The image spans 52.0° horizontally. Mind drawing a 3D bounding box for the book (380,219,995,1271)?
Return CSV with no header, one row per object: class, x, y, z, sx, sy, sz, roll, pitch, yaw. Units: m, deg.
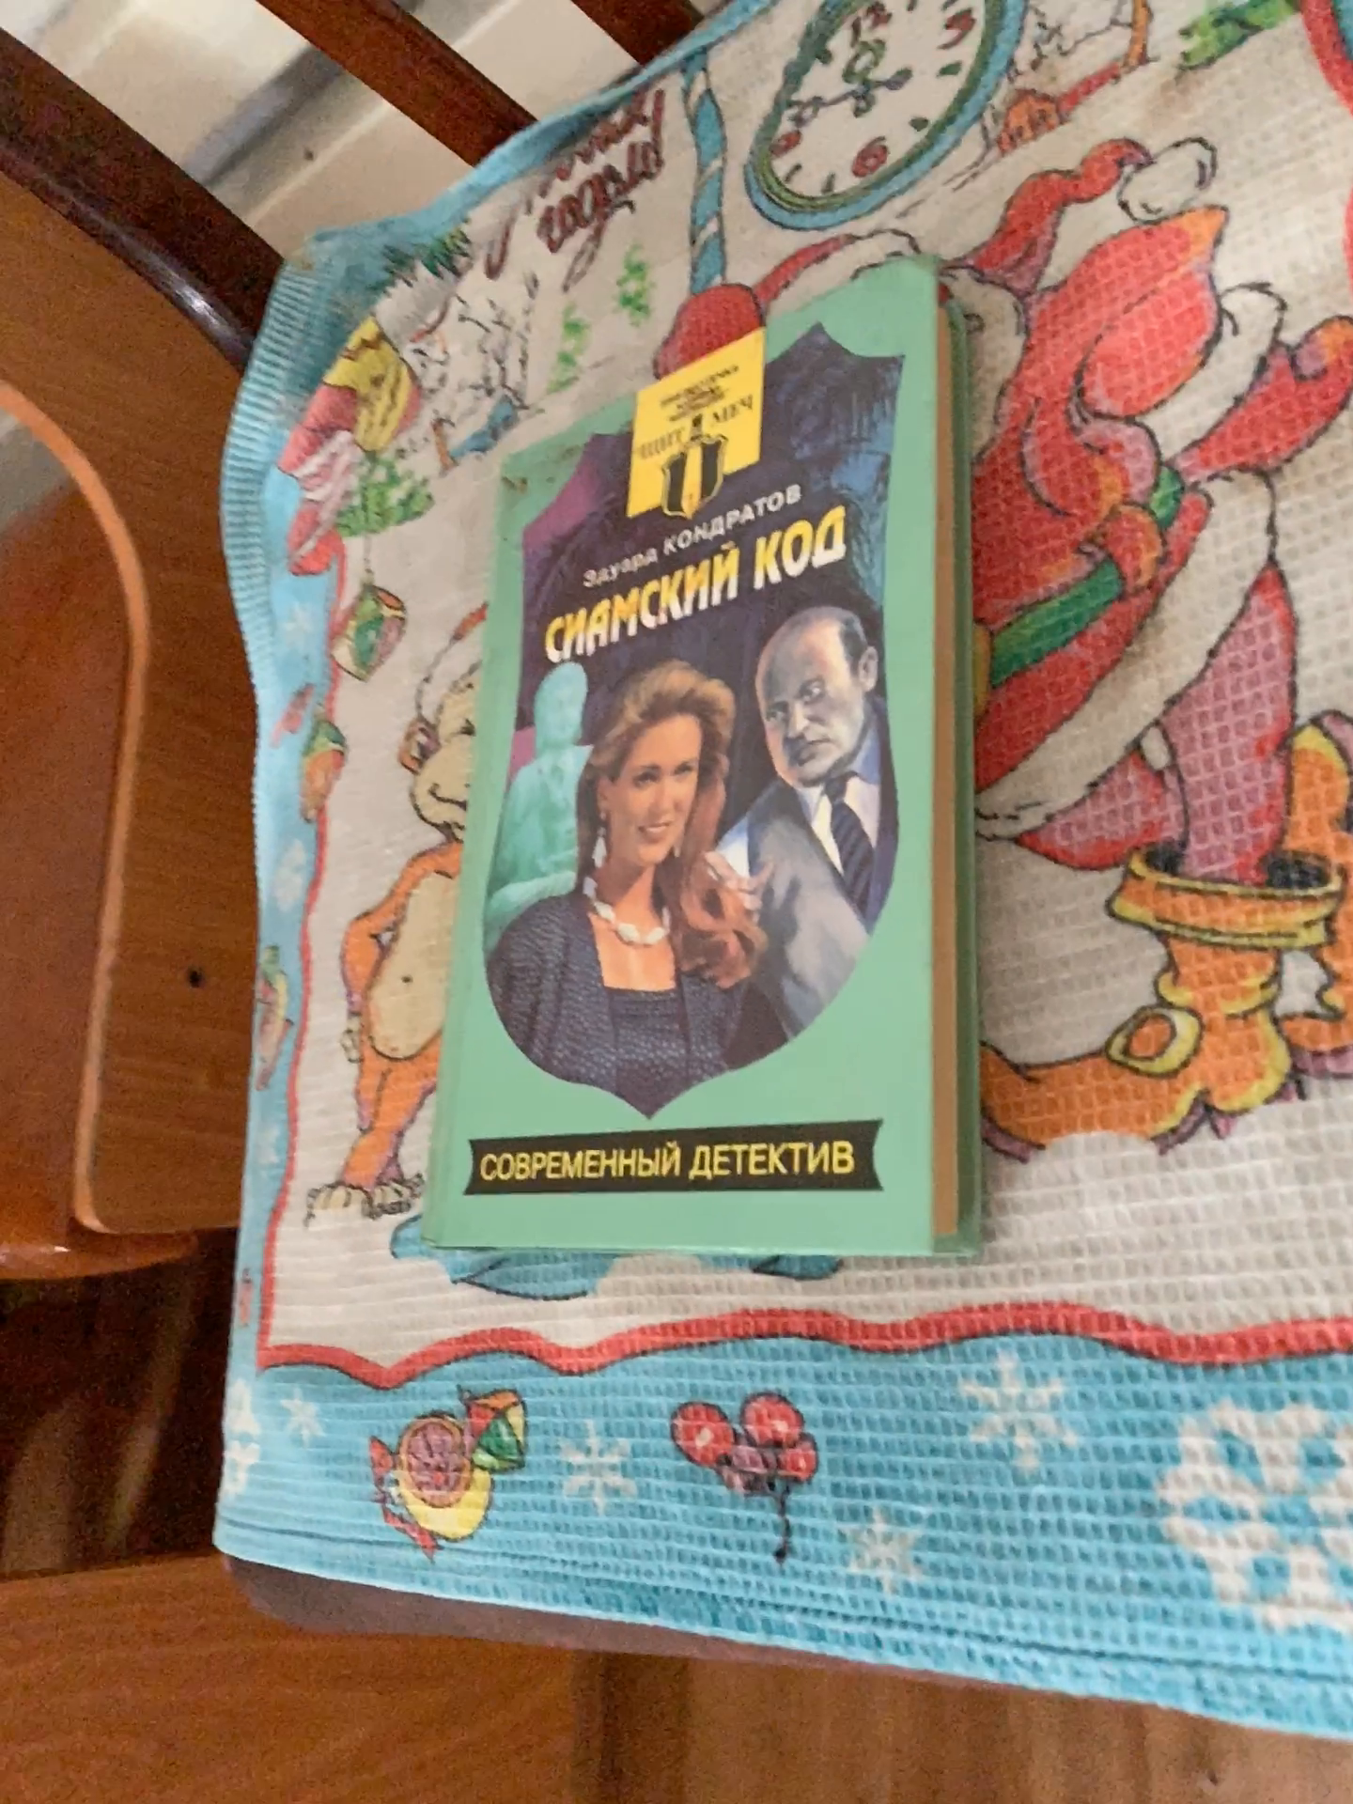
book,-0.001,-0.026,0.300,0.141,0.023,0.200,-11,68,41
